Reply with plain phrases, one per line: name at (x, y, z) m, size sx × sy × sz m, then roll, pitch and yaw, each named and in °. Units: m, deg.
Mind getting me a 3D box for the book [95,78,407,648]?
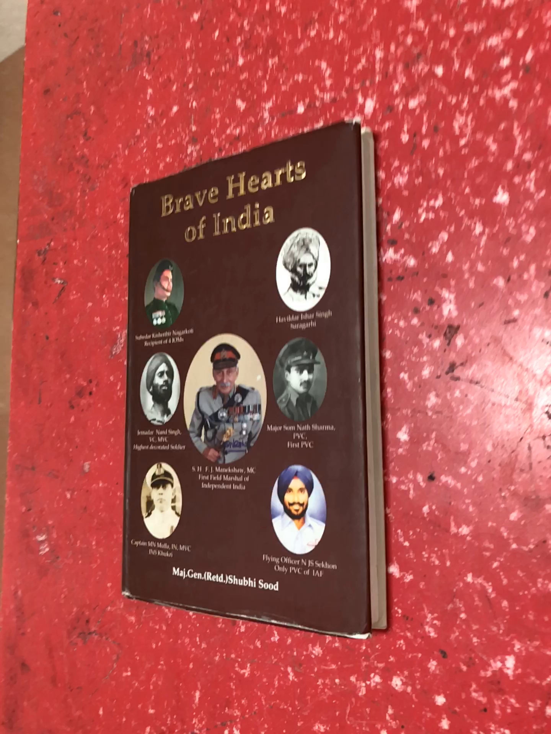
book at (-0.019, -0.001, 0.289) m, size 0.151 × 0.030 × 0.220 m, roll -5°, pitch 81°, yaw 33°
